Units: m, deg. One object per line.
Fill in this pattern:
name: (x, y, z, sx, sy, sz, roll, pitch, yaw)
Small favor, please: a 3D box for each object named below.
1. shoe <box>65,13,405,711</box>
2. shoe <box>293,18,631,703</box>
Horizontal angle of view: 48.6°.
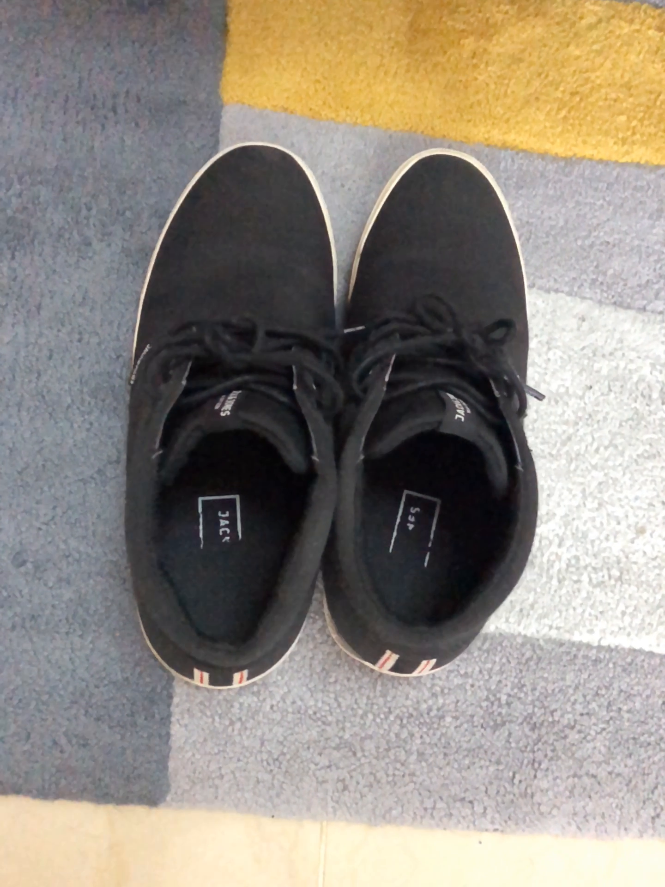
shoe: (-0.035, -0.032, 0.333, 0.110, 0.110, 0.281, 2, 73, -6)
shoe: (0.057, -0.032, 0.355, 0.110, 0.130, 0.281, 8, 73, -5)
